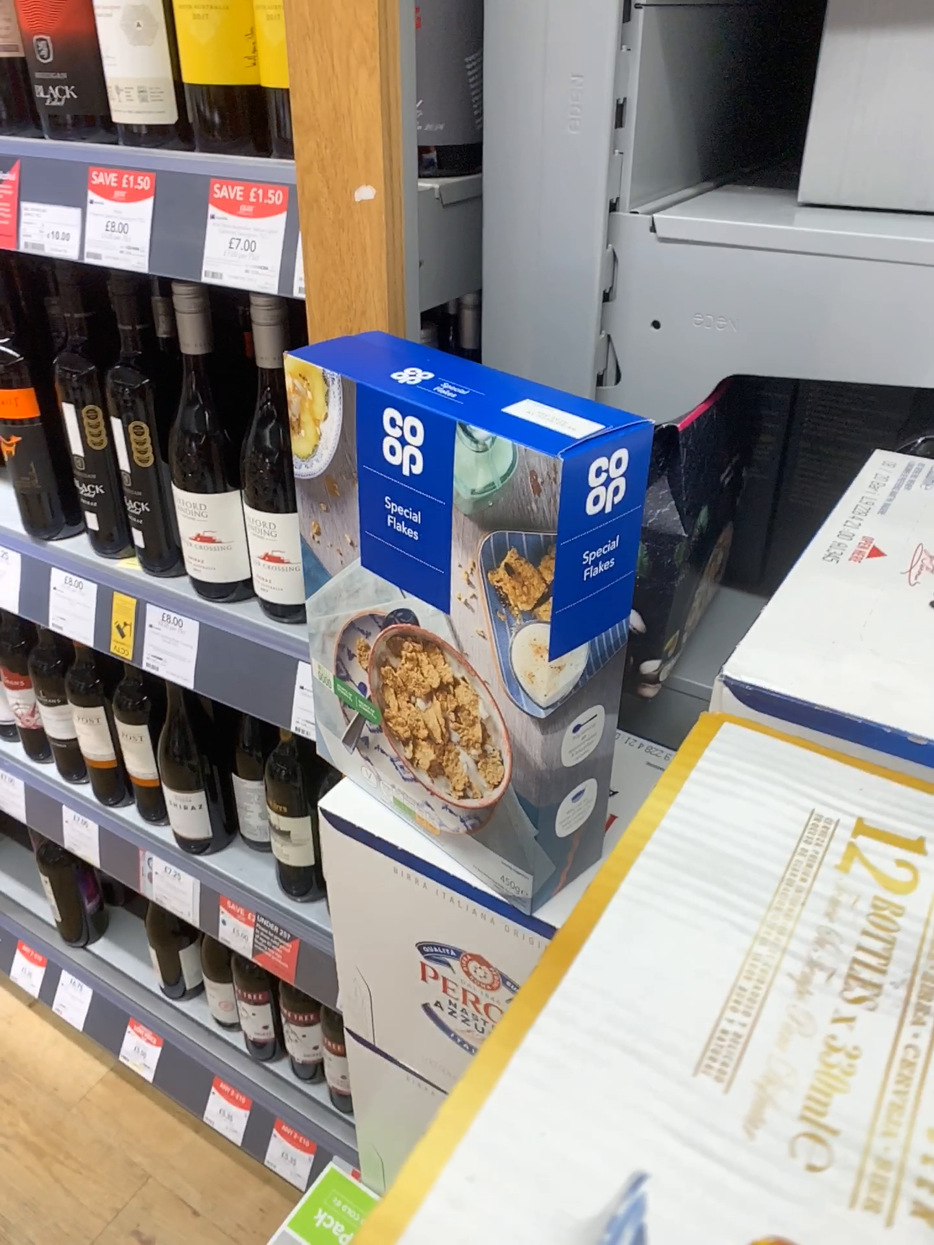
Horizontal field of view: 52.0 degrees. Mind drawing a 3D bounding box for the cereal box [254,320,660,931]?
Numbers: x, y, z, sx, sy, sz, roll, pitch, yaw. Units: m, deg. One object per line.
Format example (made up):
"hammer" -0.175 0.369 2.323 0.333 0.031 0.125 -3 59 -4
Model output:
"cereal box" -0.013 -0.002 0.518 0.070 0.267 0.201 -28 41 -36
